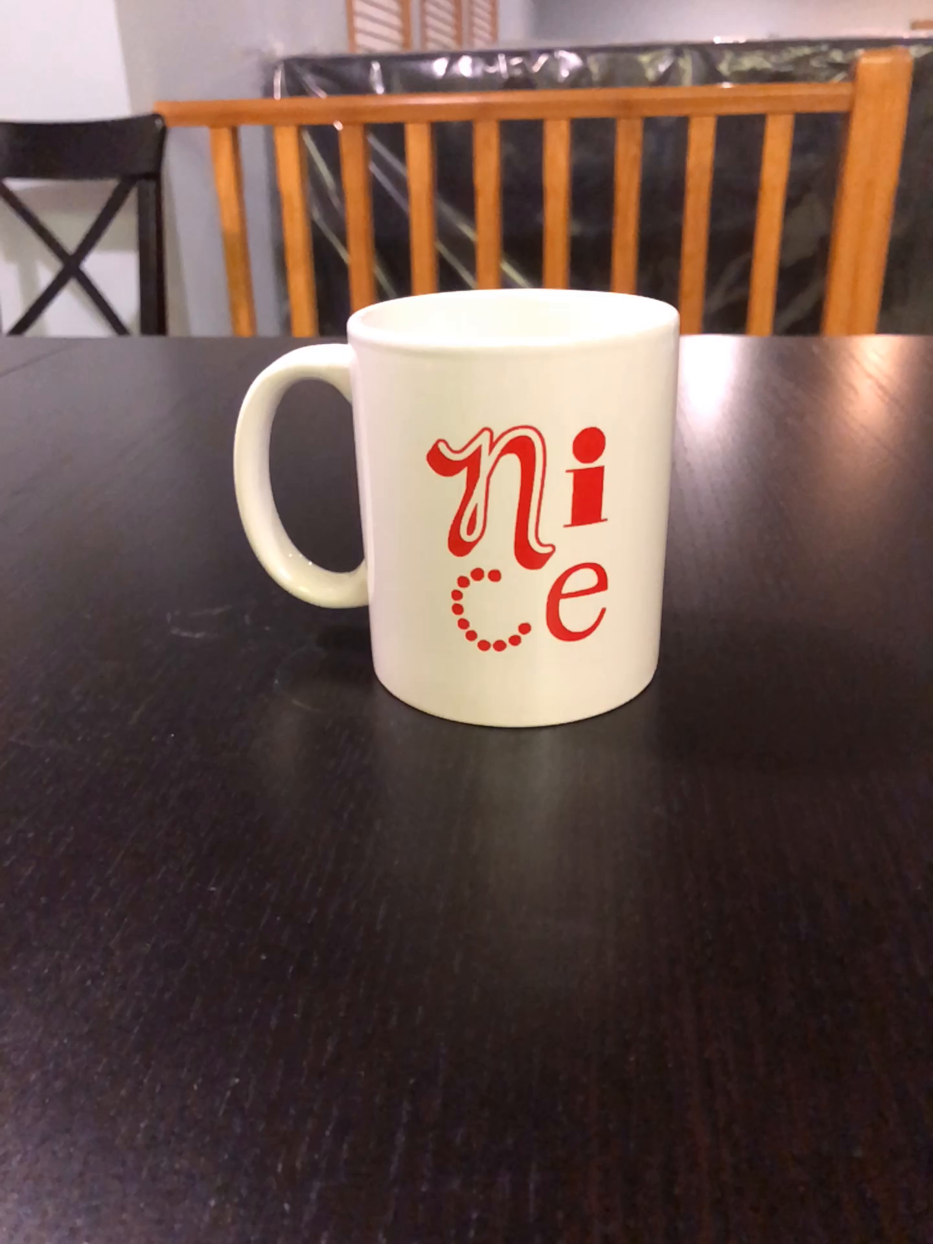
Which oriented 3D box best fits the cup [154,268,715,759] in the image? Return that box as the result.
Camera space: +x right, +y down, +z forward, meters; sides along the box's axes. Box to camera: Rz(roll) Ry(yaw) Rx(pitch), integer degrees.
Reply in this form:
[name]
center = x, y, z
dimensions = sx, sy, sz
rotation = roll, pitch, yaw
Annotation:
[cup]
center = 0.001, -0.038, 0.283
dimensions = 0.120, 0.100, 0.100
rotation = 4, 25, 11
